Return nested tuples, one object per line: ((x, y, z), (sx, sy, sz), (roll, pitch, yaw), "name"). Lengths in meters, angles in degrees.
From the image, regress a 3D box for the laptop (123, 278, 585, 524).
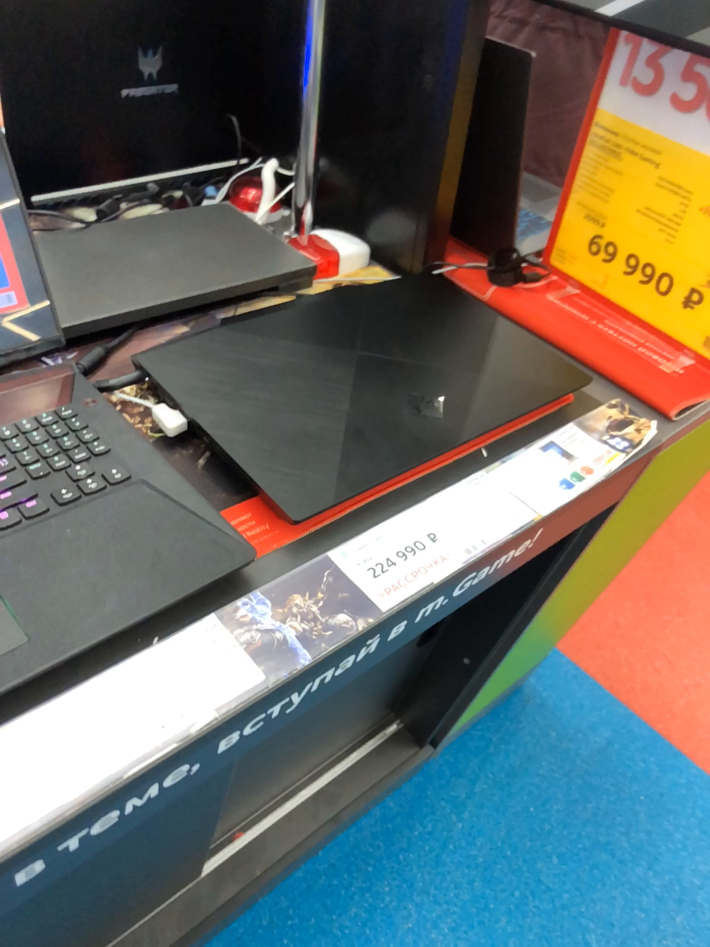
((0.012, -0.102, 0.794), (0.399, 0.002, 0.261), (-25, 51, -34), "laptop")
